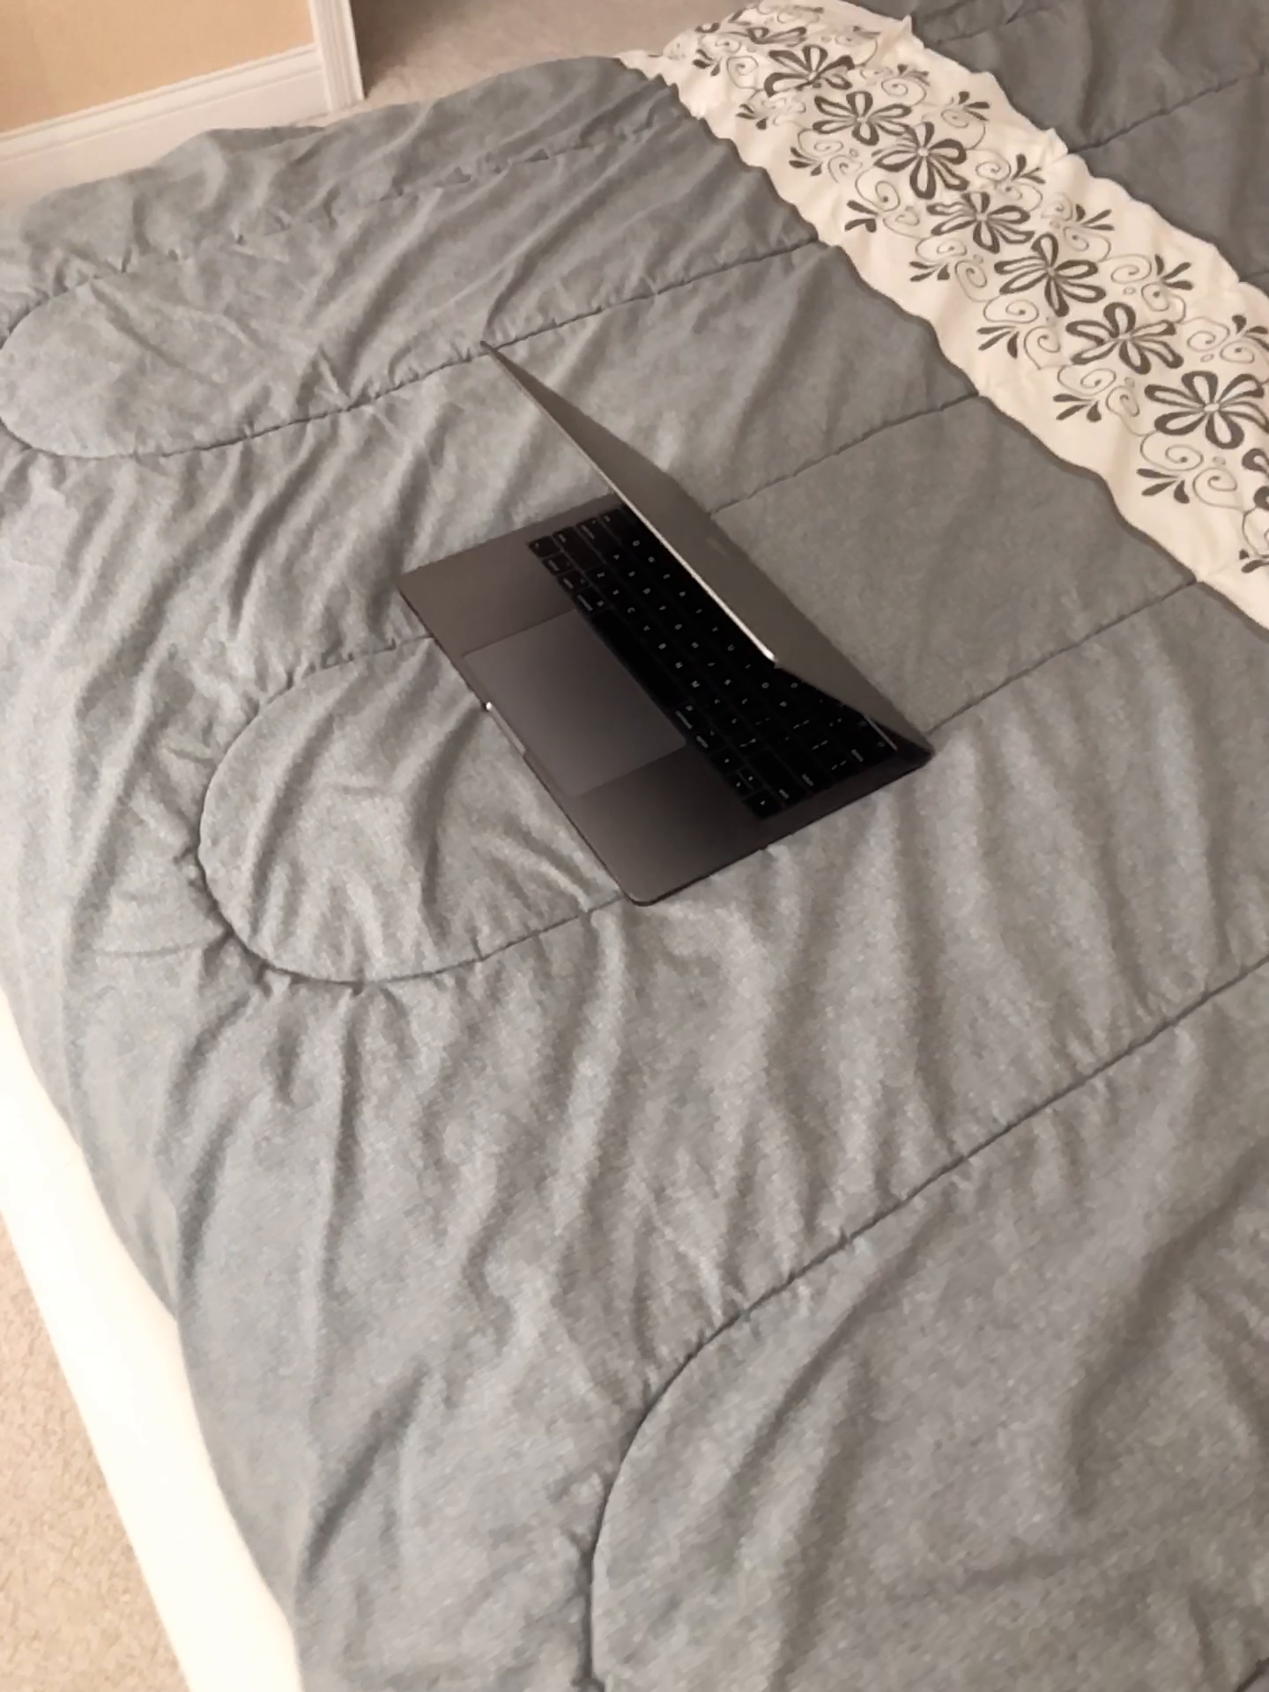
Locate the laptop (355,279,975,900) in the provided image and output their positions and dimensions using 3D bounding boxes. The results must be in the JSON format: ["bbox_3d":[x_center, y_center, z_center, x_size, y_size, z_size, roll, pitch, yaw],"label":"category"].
[{"bbox_3d":[0.007,-0.150,0.758,0.195,0.140,0.279,-26,57,-19],"label":"laptop"}]
